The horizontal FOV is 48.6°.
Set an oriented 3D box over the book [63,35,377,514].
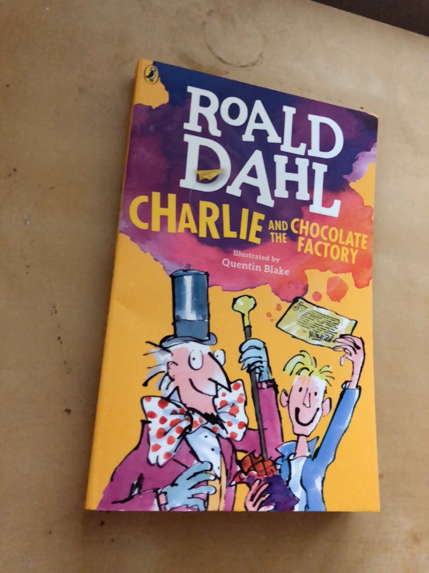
[{"bbox_3d":[0.009,-0.004,0.232,0.134,0.040,0.201,7,78,-16],"label":"book"}]
